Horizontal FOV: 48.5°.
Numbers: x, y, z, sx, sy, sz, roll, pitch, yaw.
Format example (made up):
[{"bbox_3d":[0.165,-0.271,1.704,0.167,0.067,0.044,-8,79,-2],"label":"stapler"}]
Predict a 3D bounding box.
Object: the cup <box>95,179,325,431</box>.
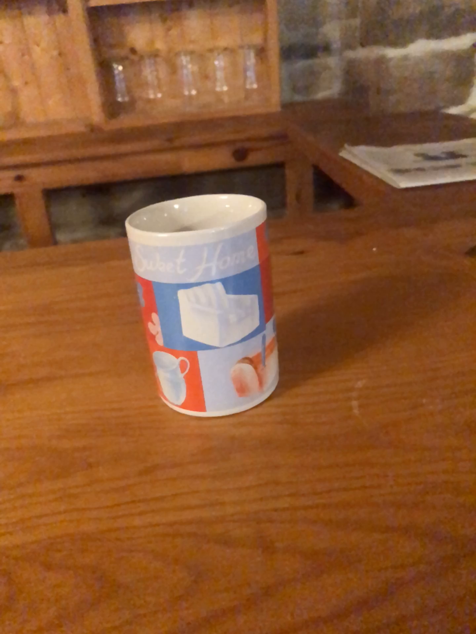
[{"bbox_3d":[-0.005,-0.017,0.302,0.080,0.099,0.112,7,28,24],"label":"cup"}]
